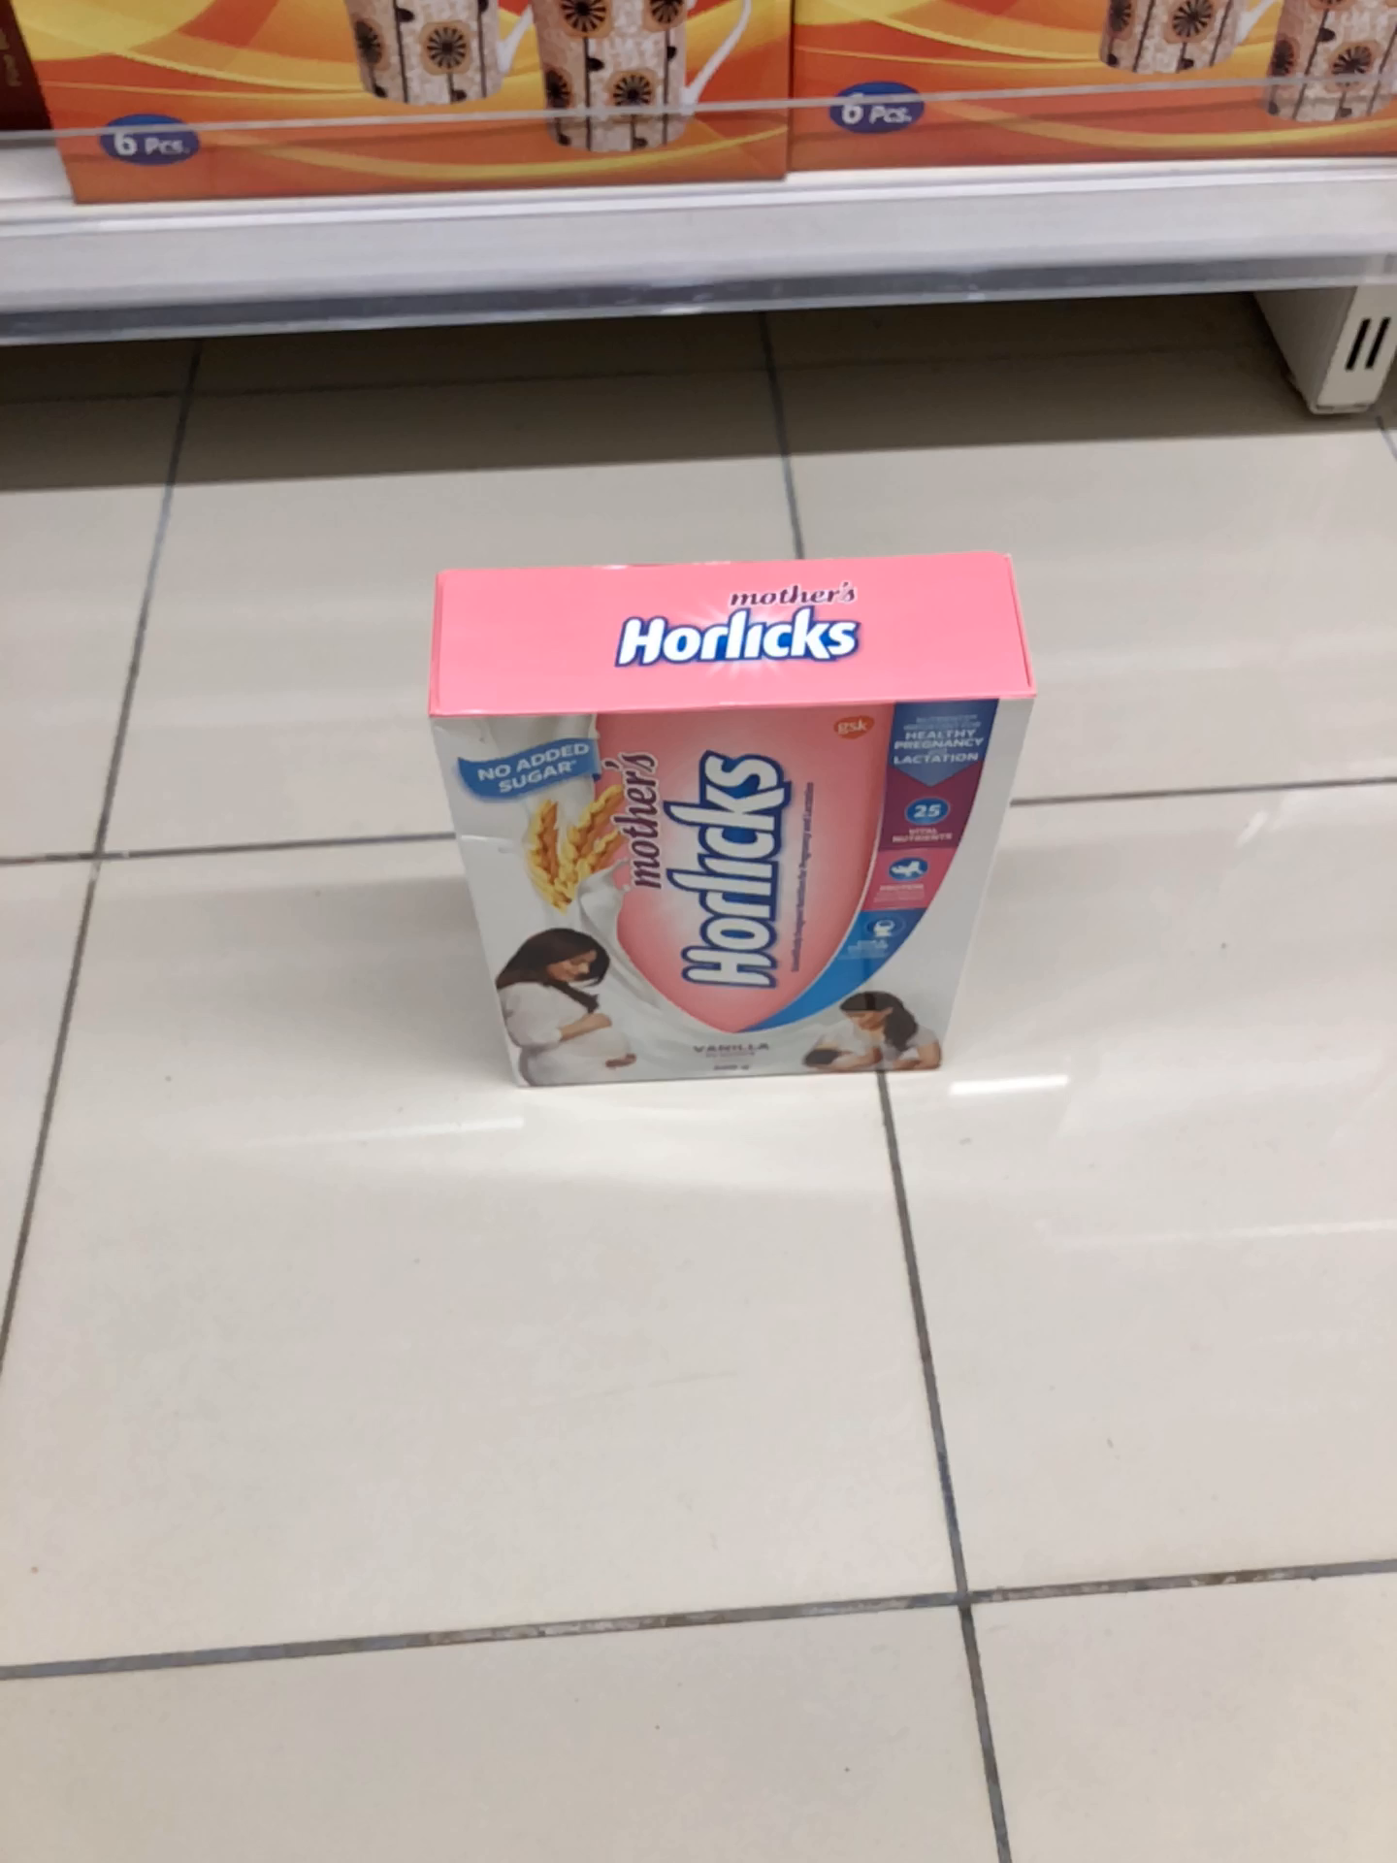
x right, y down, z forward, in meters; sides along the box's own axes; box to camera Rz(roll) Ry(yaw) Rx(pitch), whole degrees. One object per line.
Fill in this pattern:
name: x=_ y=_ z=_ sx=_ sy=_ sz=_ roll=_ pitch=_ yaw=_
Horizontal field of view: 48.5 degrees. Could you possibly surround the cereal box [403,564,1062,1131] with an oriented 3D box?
cereal box: x=0.008 y=-0.015 z=0.470 sx=0.160 sy=0.189 sz=0.060 roll=-2 pitch=54 yaw=-1
